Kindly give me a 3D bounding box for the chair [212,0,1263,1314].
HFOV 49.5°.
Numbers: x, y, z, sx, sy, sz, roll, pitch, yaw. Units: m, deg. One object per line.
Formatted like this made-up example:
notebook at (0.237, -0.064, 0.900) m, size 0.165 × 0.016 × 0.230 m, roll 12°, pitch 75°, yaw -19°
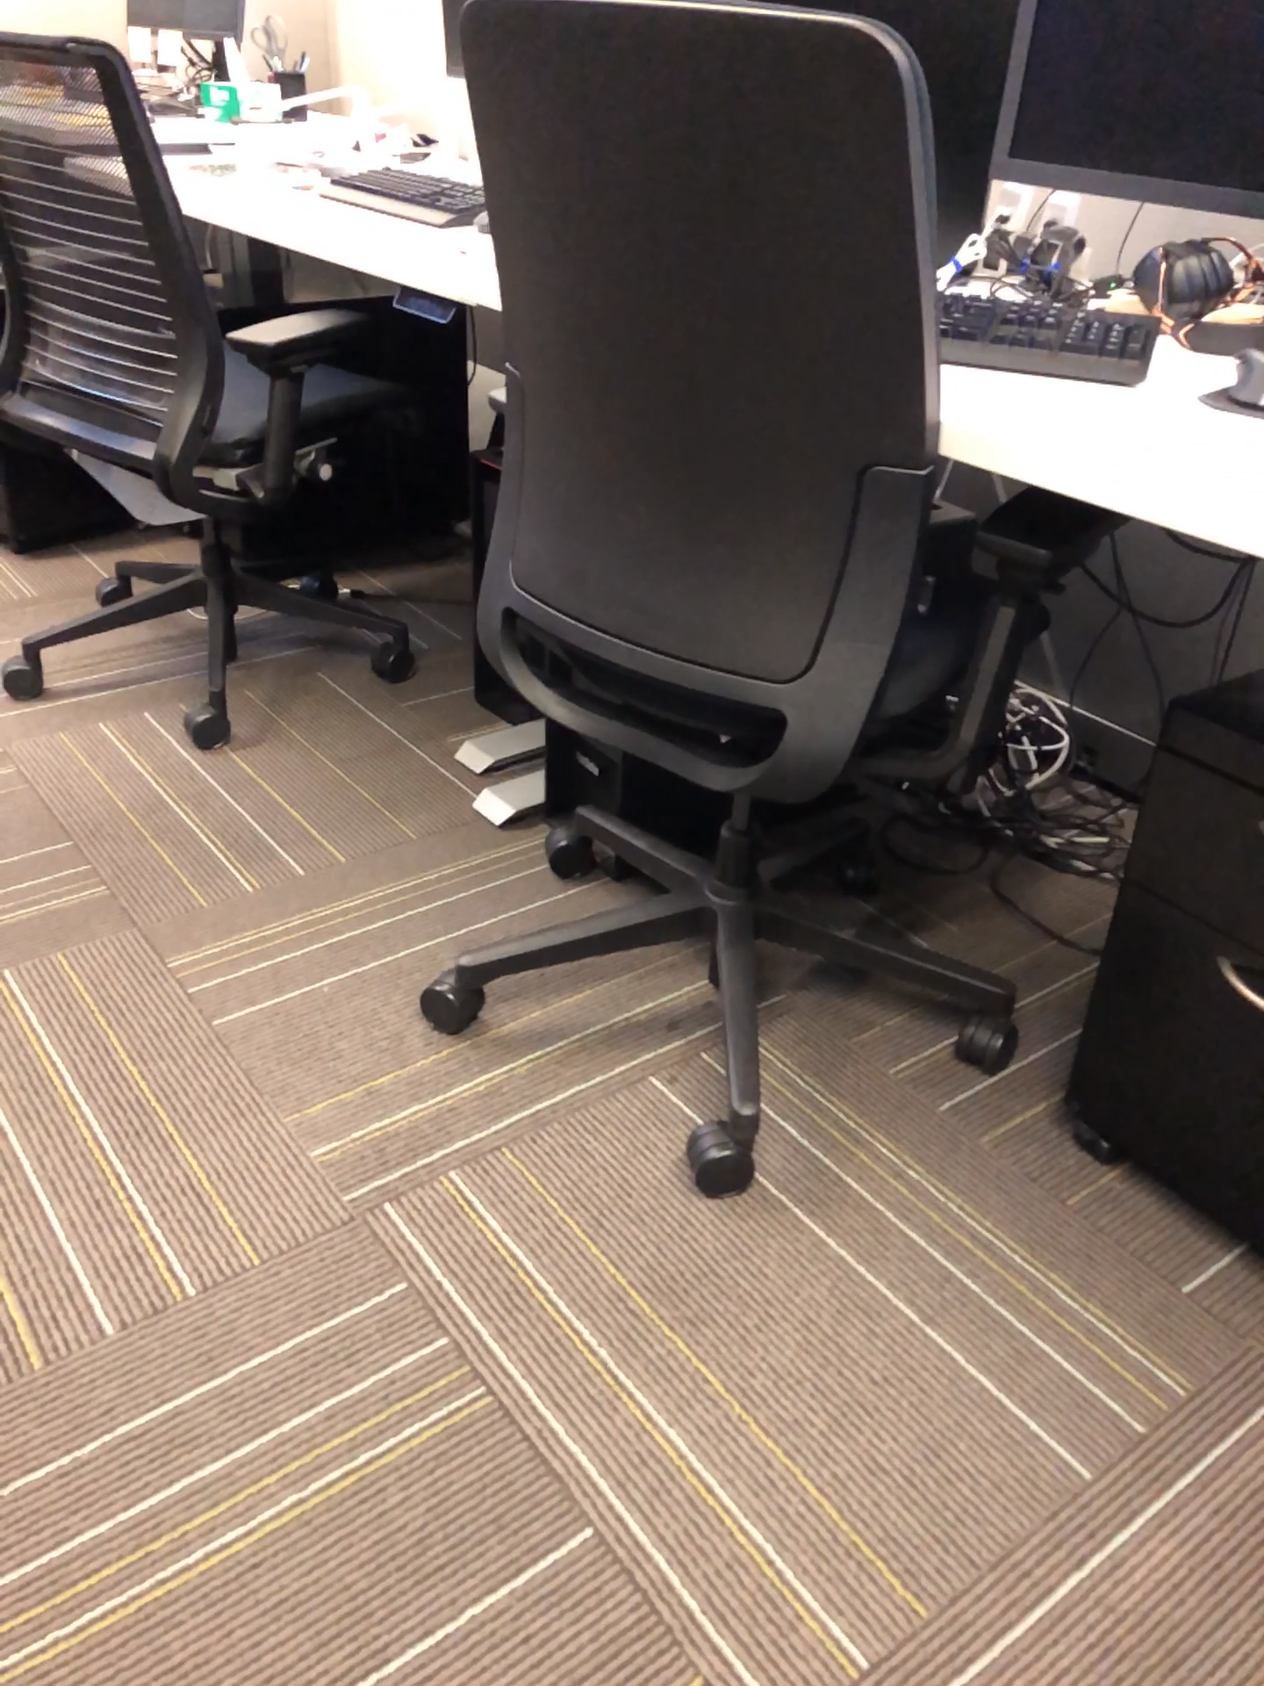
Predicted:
chair at (0.126, -0.270, 1.457) m, size 0.712 × 1.044 × 0.722 m, roll 27°, pitch 38°, yaw 35°
